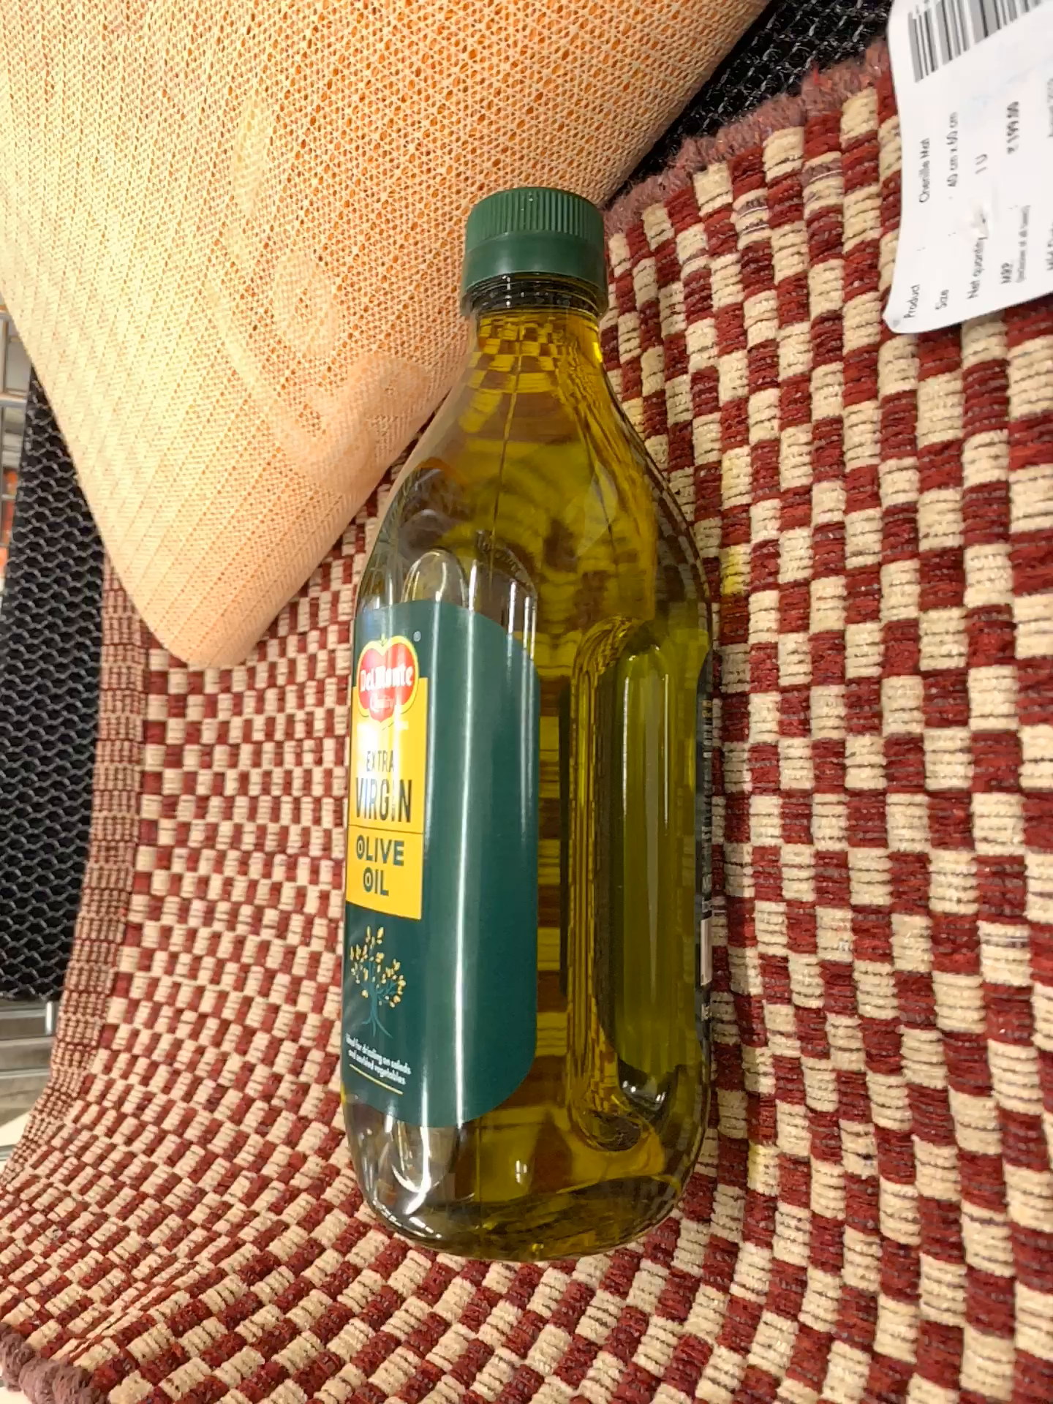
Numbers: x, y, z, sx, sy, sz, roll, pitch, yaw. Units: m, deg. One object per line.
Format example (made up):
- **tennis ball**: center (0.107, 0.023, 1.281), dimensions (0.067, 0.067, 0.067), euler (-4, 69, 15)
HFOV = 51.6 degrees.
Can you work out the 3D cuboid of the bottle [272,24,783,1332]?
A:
- **bottle**: center (0.001, -0.005, 0.264), dimensions (0.081, 0.079, 0.250), euler (1, 88, 46)
